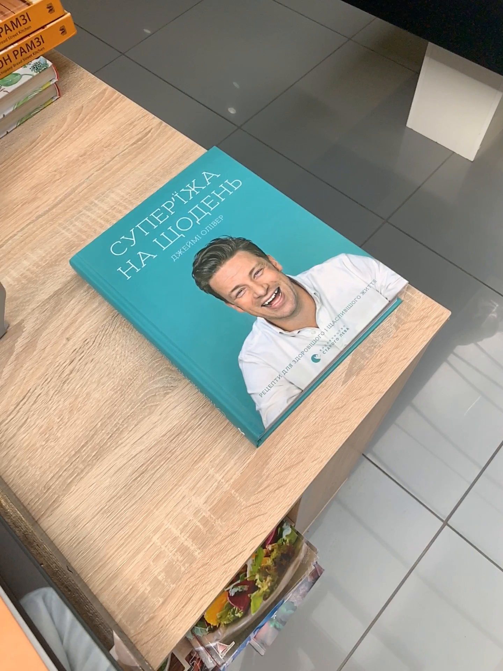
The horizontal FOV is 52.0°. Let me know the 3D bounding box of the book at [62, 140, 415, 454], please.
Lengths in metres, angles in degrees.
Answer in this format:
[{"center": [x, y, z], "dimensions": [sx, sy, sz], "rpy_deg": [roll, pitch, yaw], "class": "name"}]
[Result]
[{"center": [-0.017, -0.054, 0.481], "dimensions": [0.255, 0.030, 0.200], "rpy_deg": [41, 73, 20], "class": "book"}]
